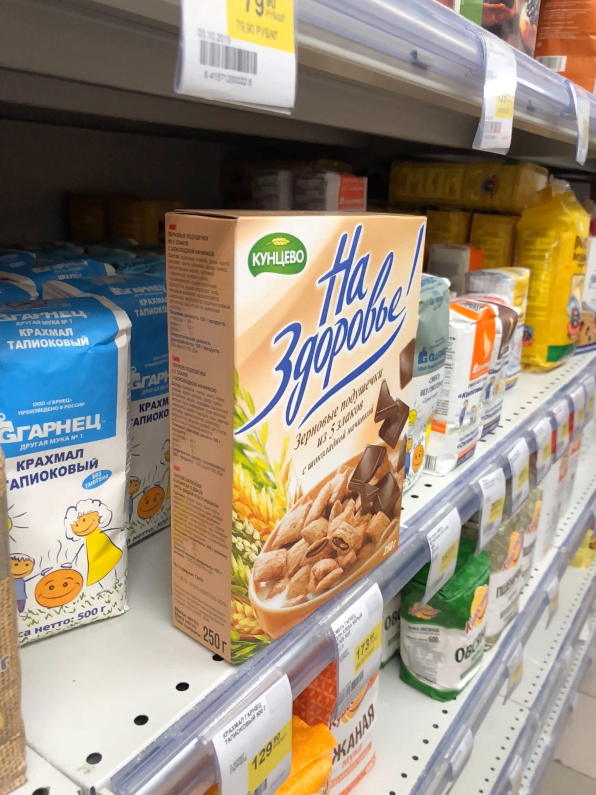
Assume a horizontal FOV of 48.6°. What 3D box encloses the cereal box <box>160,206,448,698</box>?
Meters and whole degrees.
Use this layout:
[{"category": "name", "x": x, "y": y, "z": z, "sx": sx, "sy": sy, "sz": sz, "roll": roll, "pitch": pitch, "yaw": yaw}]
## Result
[{"category": "cereal box", "x": 0.009, "y": 0.013, "z": 0.353, "sx": 0.050, "sy": 0.219, "sz": 0.160, "roll": 15, "pitch": 21, "yaw": 37}]
